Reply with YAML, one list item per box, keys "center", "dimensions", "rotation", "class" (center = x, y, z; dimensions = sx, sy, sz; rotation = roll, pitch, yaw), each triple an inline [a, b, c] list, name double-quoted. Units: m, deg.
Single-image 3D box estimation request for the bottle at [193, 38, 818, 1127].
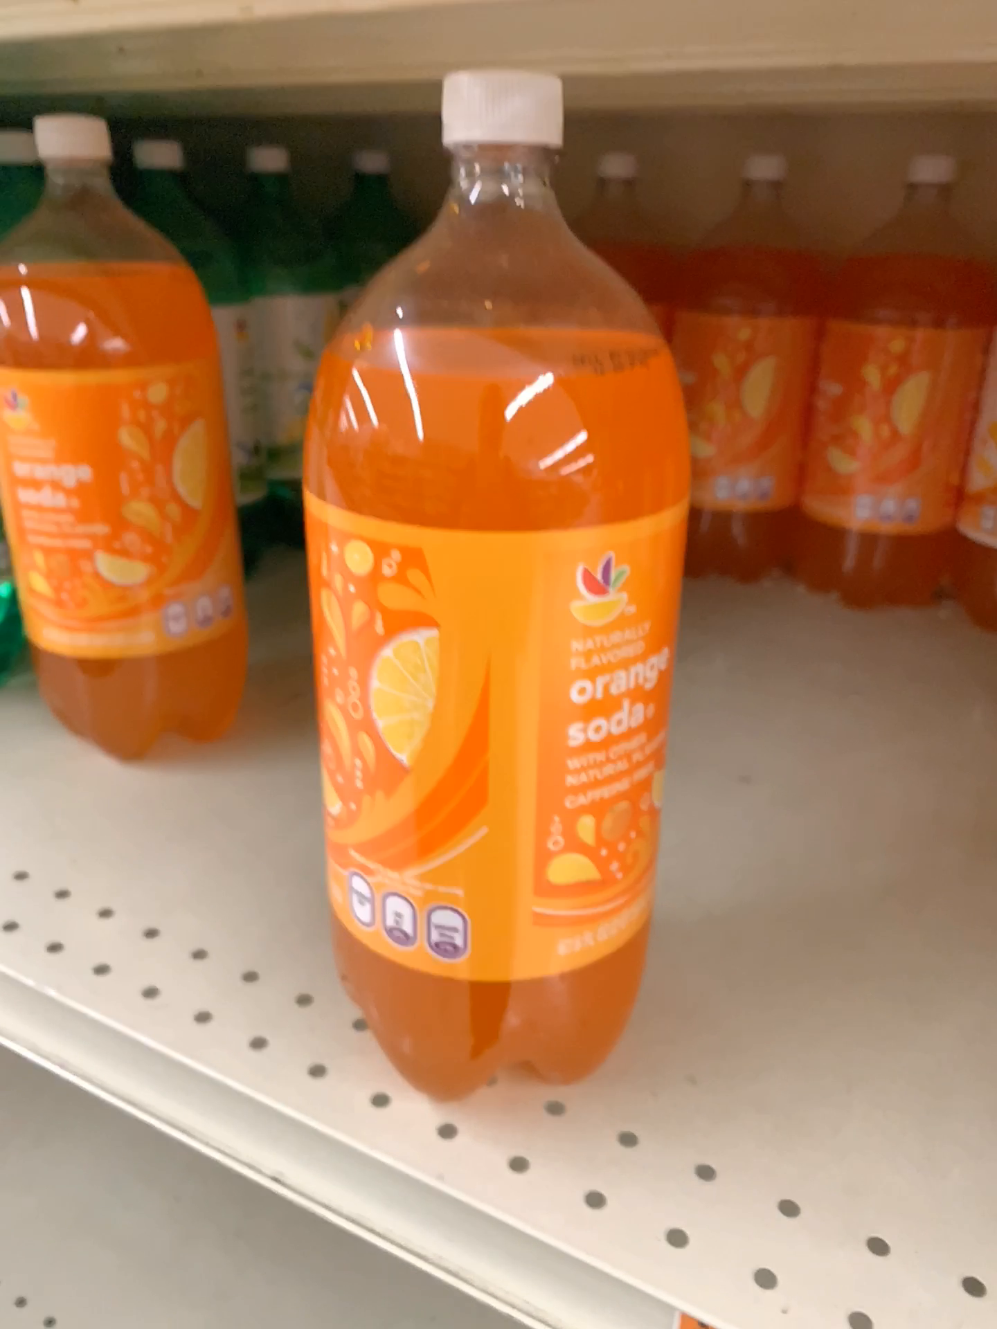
- center: [0.001, -0.013, 0.310]
  dimensions: [0.120, 0.289, 0.111]
  rotation: [0, 25, 0]
  class: "bottle"
